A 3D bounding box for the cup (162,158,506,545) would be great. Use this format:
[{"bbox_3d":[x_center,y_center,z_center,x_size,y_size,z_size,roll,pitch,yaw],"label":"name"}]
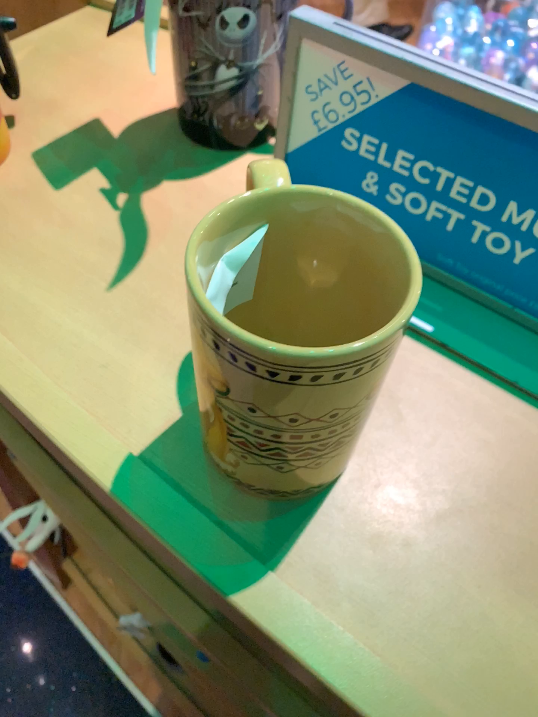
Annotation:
[{"bbox_3d":[0.010,-0.002,0.260,0.100,0.121,0.120,-7,55,-14],"label":"cup"}]
